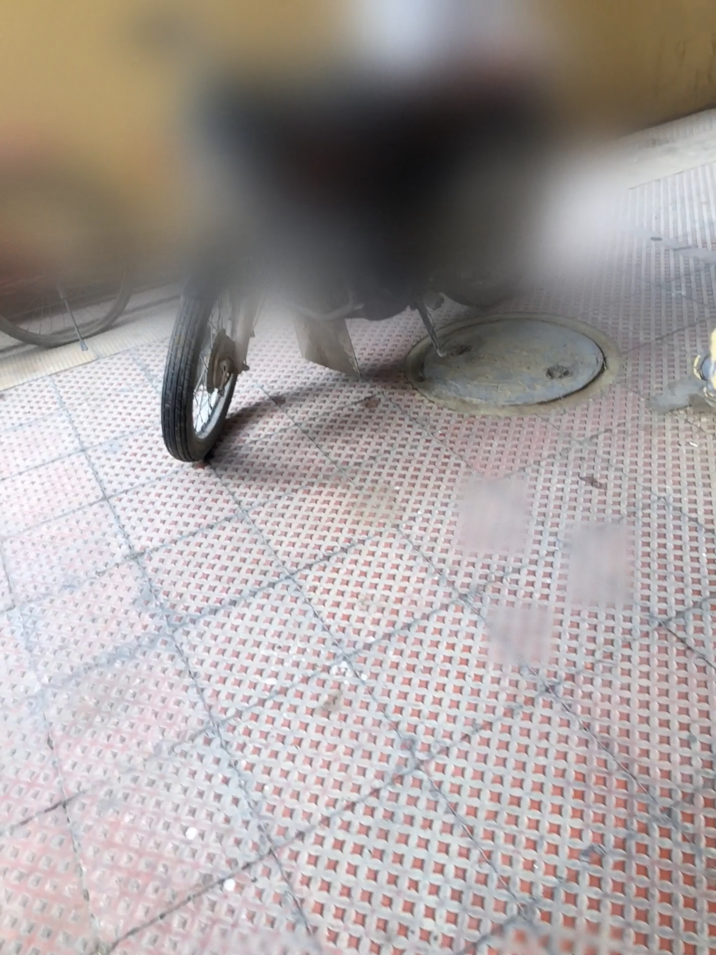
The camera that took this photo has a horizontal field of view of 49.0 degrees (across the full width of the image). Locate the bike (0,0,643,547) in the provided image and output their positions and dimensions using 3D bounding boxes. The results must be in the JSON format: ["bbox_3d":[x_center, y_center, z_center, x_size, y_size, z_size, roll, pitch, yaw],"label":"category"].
[{"bbox_3d":[0.004,-0.778,2.249,0.760,0.974,1.604,27,50,38],"label":"bike"}]
